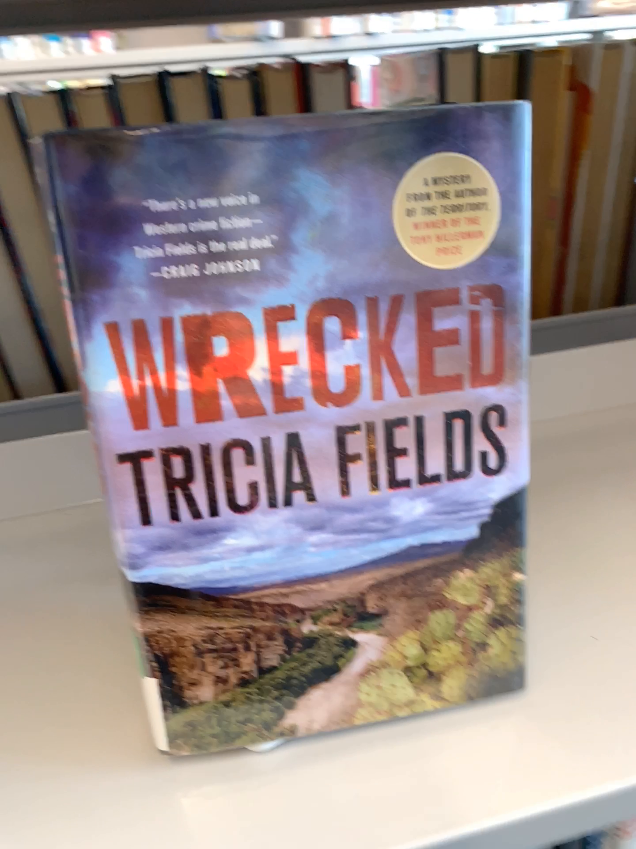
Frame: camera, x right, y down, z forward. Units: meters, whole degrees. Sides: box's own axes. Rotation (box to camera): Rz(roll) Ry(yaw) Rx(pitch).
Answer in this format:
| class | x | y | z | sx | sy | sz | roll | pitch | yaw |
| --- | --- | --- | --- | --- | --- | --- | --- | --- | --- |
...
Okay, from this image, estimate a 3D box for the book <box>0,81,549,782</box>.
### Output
| class | x | y | z | sx | sy | sz | roll | pitch | yaw |
| --- | --- | --- | --- | --- | --- | --- | --- | --- | --- |
| book | -0.004 | 0.007 | 0.219 | 0.149 | 0.202 | 0.040 | -8 | 18 | -7 |
